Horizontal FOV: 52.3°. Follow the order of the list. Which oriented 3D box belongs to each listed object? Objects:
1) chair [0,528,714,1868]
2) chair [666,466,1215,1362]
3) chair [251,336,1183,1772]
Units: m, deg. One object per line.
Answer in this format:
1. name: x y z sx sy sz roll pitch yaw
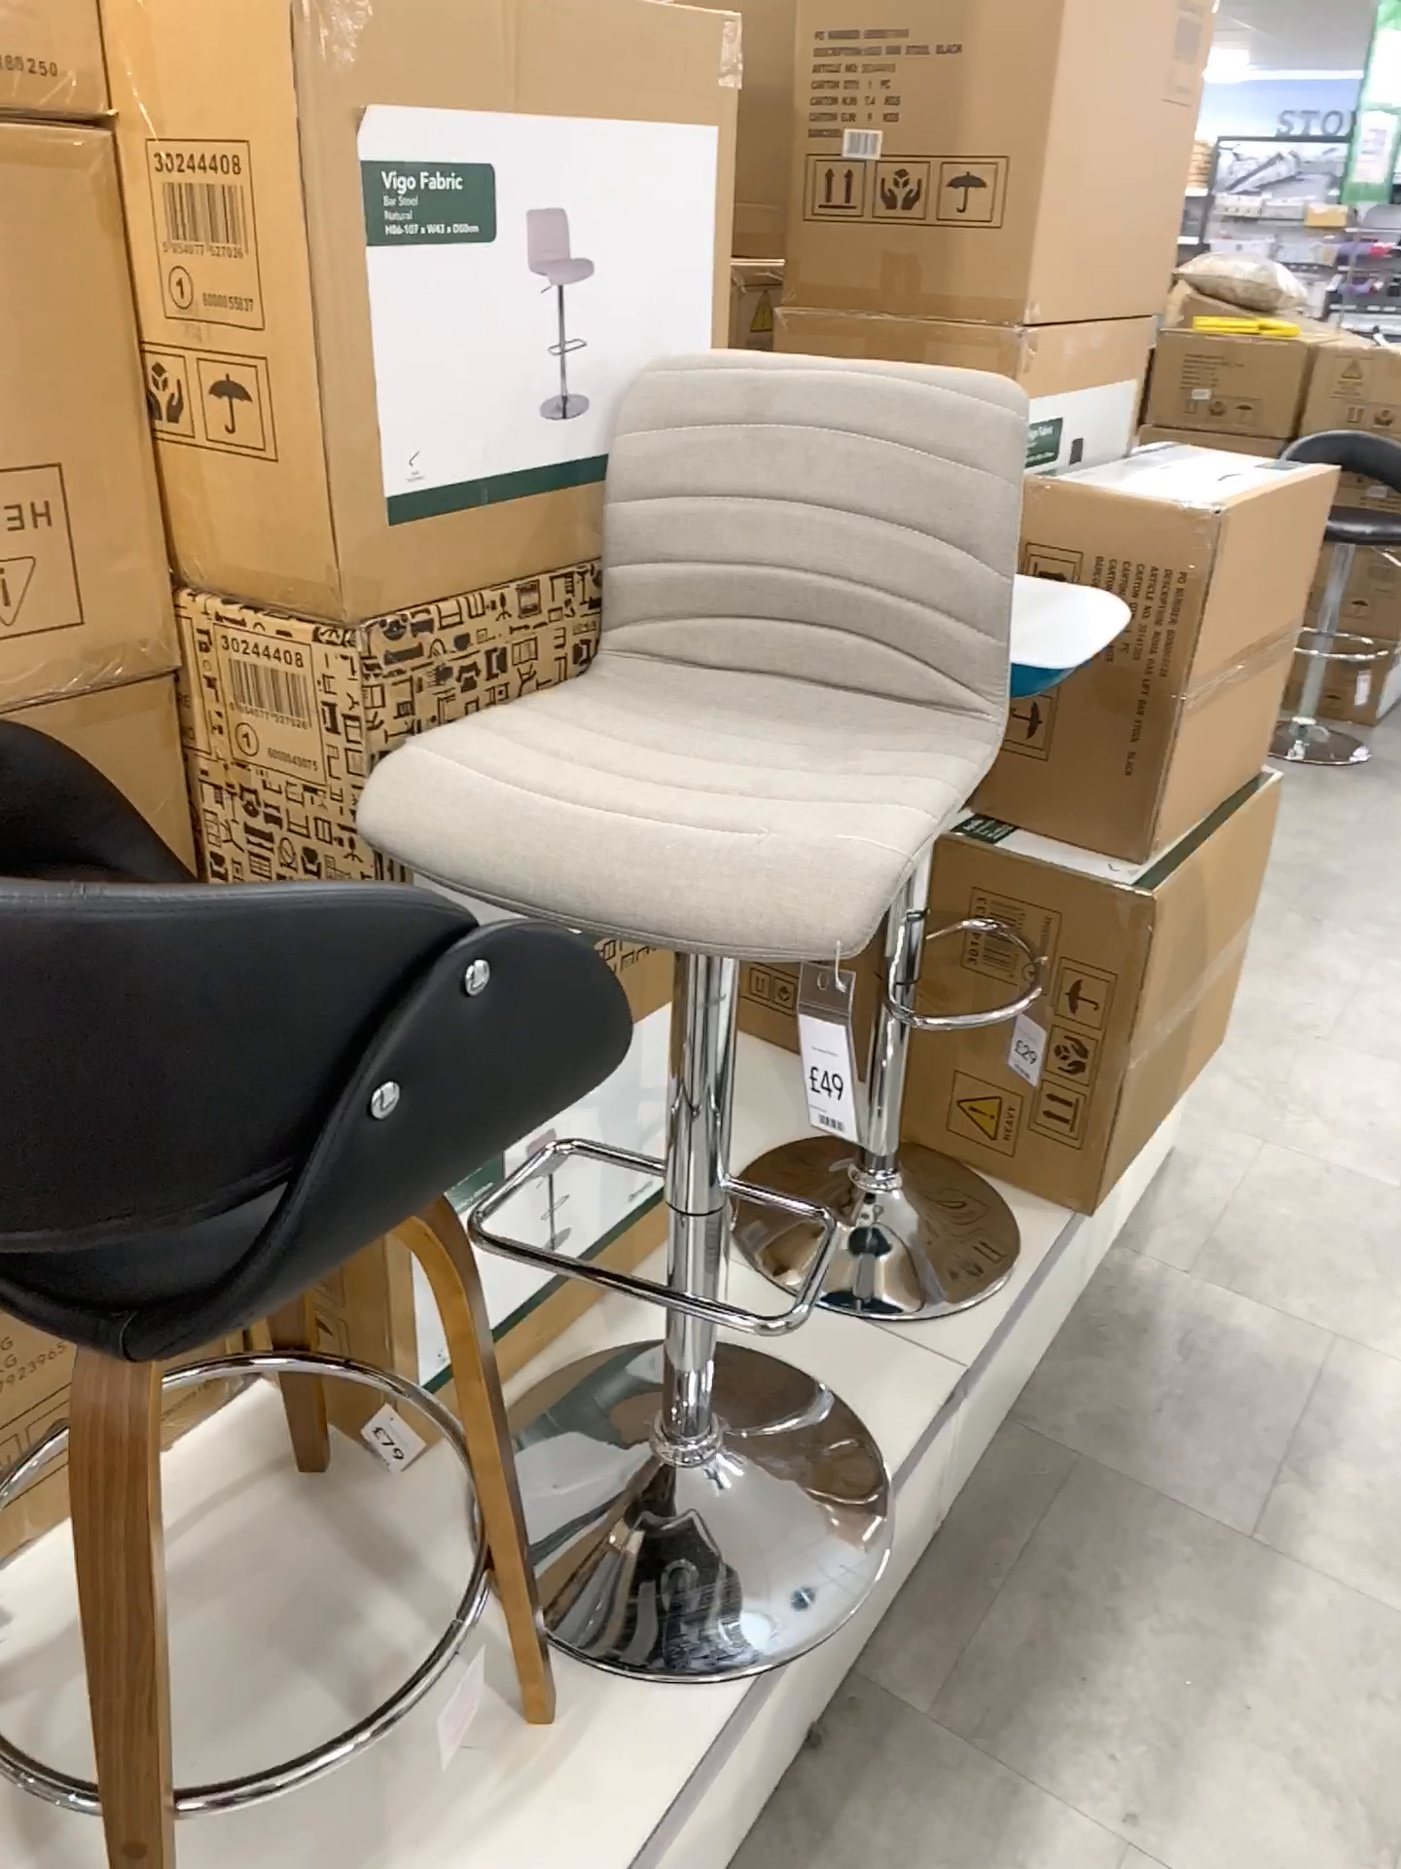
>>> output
1. chair: -0.371 0.223 1.018 0.535 0.866 0.490 19 30 30
2. chair: 0.247 -0.045 1.578 0.388 0.827 0.407 16 28 25
3. chair: 0.022 0.054 1.201 0.465 0.985 0.511 16 28 25
